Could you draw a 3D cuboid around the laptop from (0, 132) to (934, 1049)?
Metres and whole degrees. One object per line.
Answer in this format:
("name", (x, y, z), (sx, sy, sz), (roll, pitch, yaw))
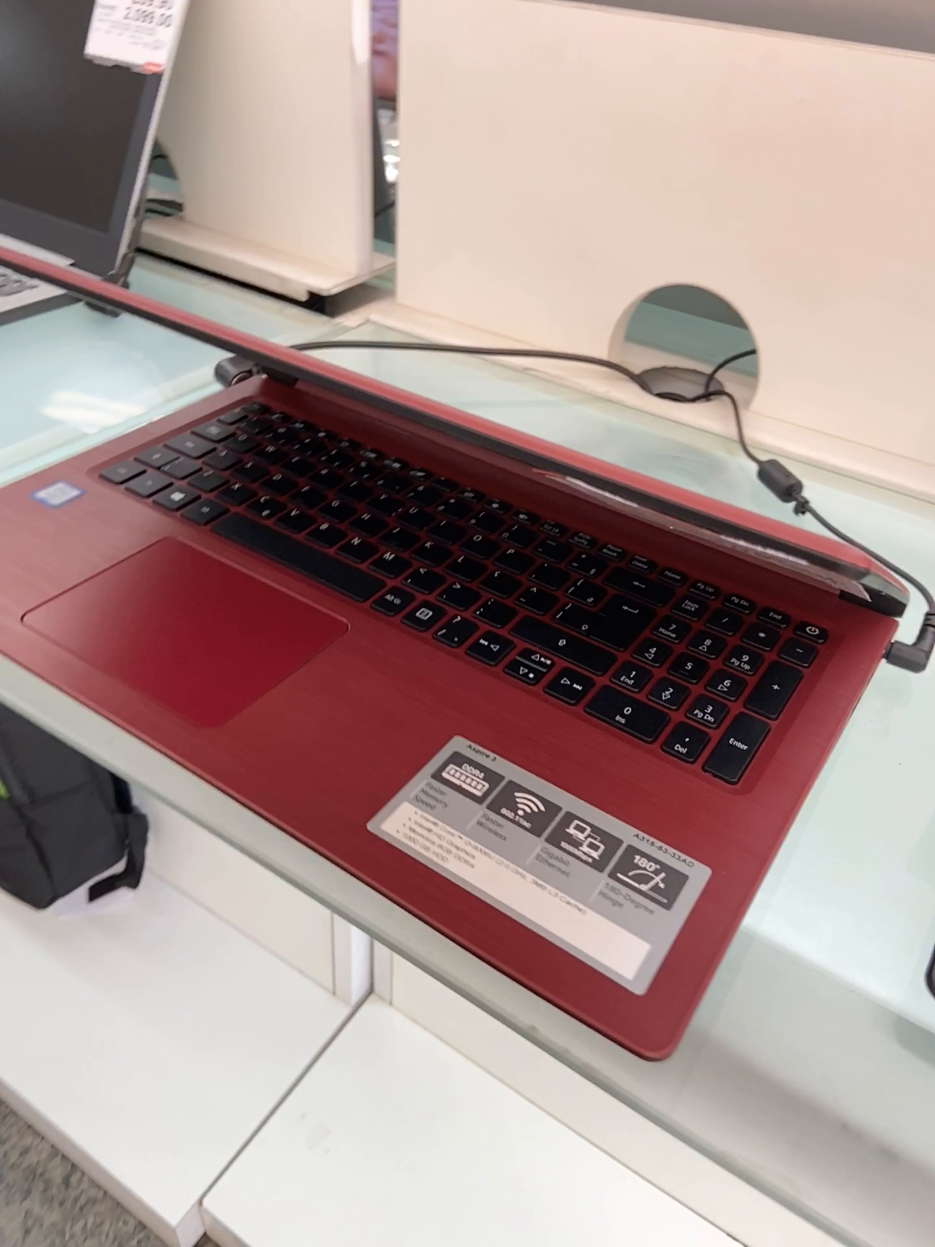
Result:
("laptop", (-0.035, -0.068, 0.374), (0.380, 0.132, 0.237), (24, 42, 24))

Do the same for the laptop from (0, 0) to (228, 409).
("laptop", (-0.440, -0.364, 0.641), (0.354, 0.215, 0.379), (27, 43, 23))
